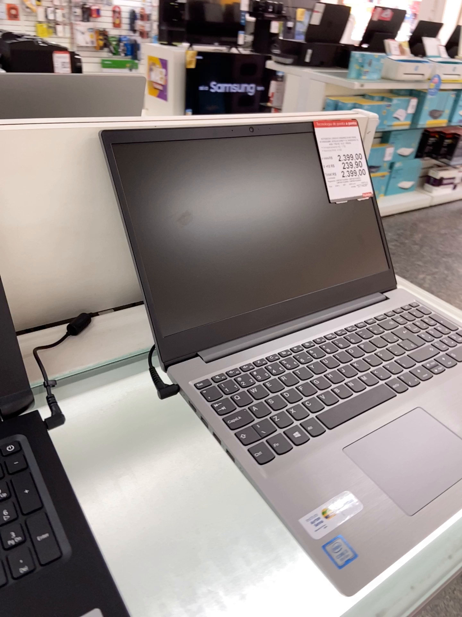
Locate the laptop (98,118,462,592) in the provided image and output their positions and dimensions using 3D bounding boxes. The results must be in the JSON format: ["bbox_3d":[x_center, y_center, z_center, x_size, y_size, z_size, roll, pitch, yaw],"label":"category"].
[{"bbox_3d":[0.122,-0.042,0.488,0.370,0.192,0.403,-15,39,-31],"label":"laptop"}]
